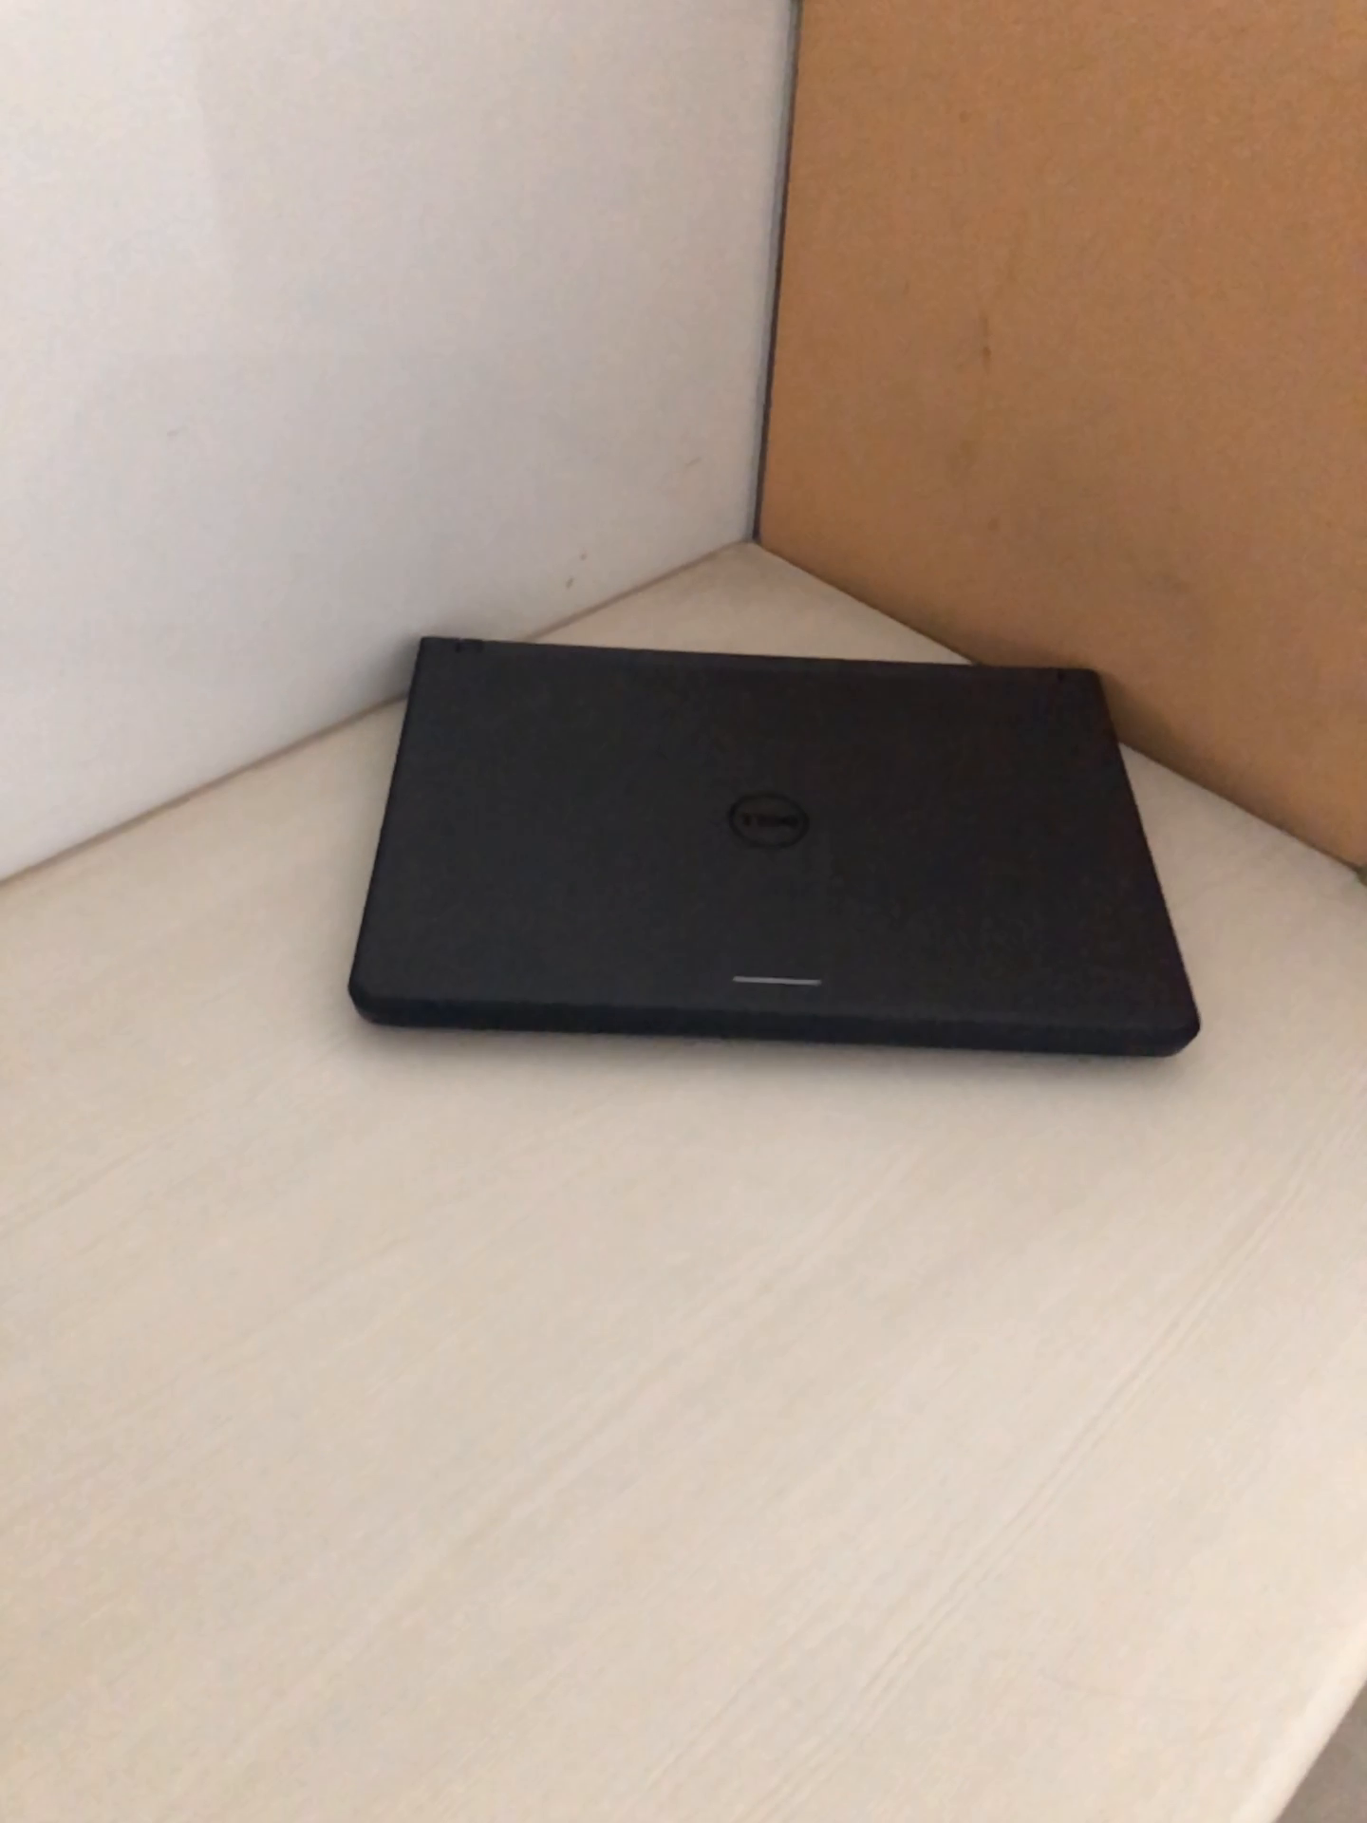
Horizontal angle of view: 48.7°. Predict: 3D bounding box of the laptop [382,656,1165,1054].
[{"bbox_3d":[0.031,-0.035,0.644,0.290,0.007,0.228,2,43,-1],"label":"laptop"}]
